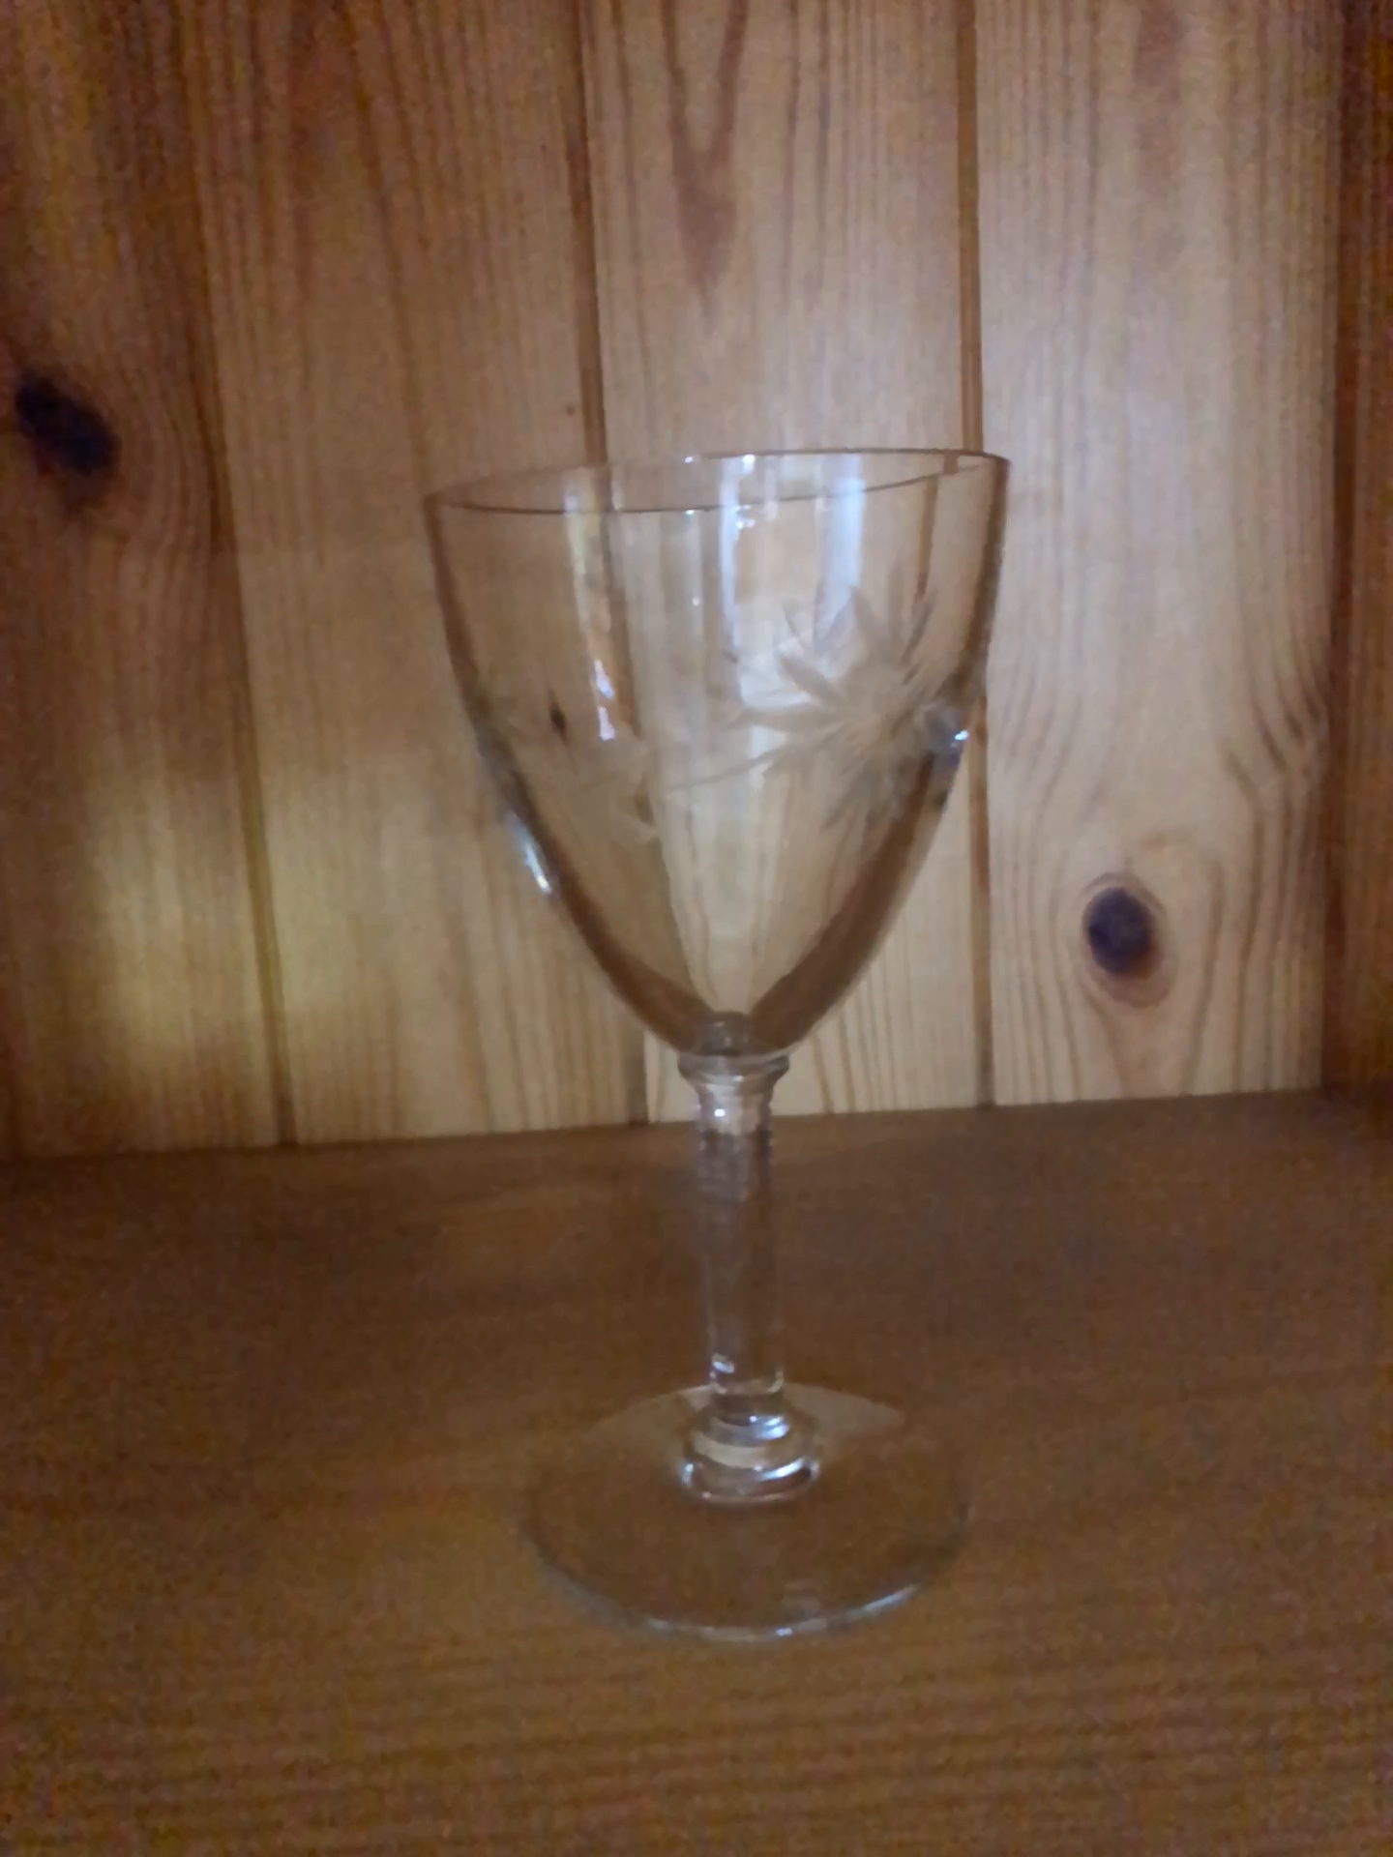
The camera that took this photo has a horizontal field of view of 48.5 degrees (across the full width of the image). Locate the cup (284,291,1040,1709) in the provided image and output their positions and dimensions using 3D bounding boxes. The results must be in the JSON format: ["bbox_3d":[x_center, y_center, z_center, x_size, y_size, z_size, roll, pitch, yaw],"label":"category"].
[{"bbox_3d":[0.005,0.006,0.189,0.070,0.140,0.070,-3,11,1],"label":"cup"}]
